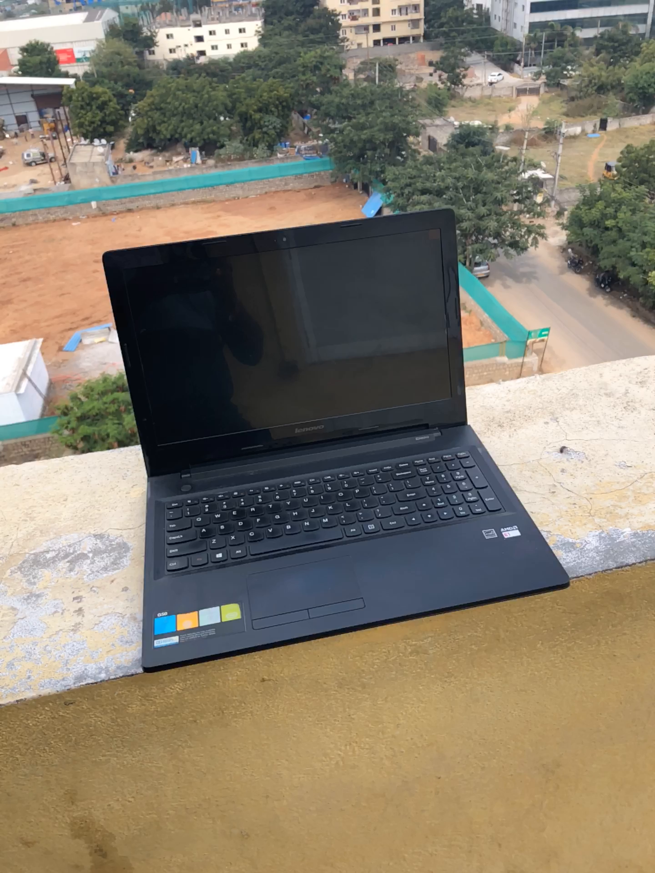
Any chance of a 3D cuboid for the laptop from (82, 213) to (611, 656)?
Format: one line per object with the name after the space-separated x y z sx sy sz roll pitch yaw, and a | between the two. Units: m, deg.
-0.003 -0.031 0.686 0.366 0.229 0.331 -9 35 -8 | laptop
